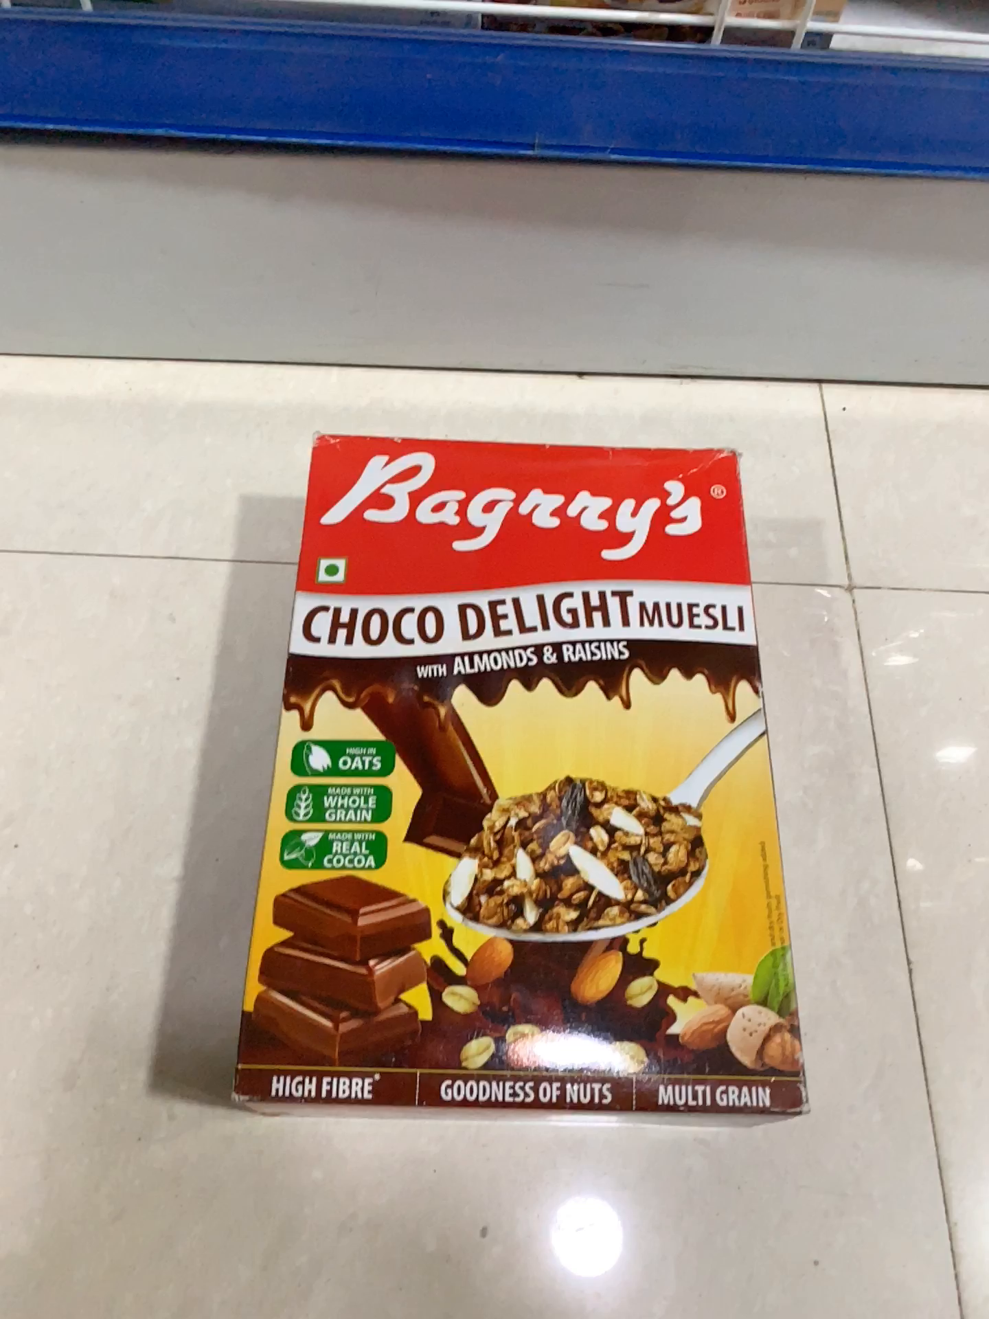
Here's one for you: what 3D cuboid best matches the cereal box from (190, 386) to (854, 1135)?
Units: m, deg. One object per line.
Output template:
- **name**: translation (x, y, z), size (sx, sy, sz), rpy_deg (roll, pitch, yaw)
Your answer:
- **cereal box**: translation (0.011, 0.031, 0.404), size (0.200, 0.080, 0.280), rpy_deg (2, 63, -1)
